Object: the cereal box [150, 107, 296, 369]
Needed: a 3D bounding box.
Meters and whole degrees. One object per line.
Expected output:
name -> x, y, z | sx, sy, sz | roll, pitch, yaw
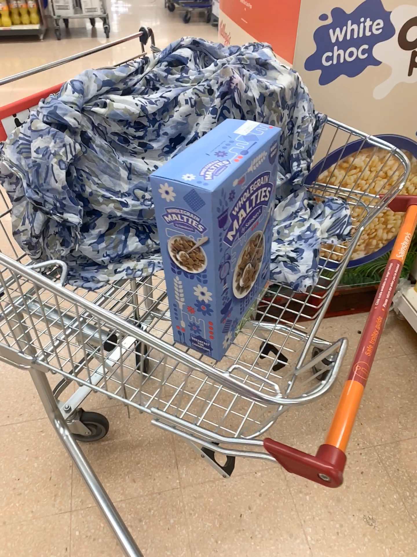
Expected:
cereal box -> 0.032, -0.058, 0.609 | 0.090, 0.287, 0.222 | 17, 43, 22
